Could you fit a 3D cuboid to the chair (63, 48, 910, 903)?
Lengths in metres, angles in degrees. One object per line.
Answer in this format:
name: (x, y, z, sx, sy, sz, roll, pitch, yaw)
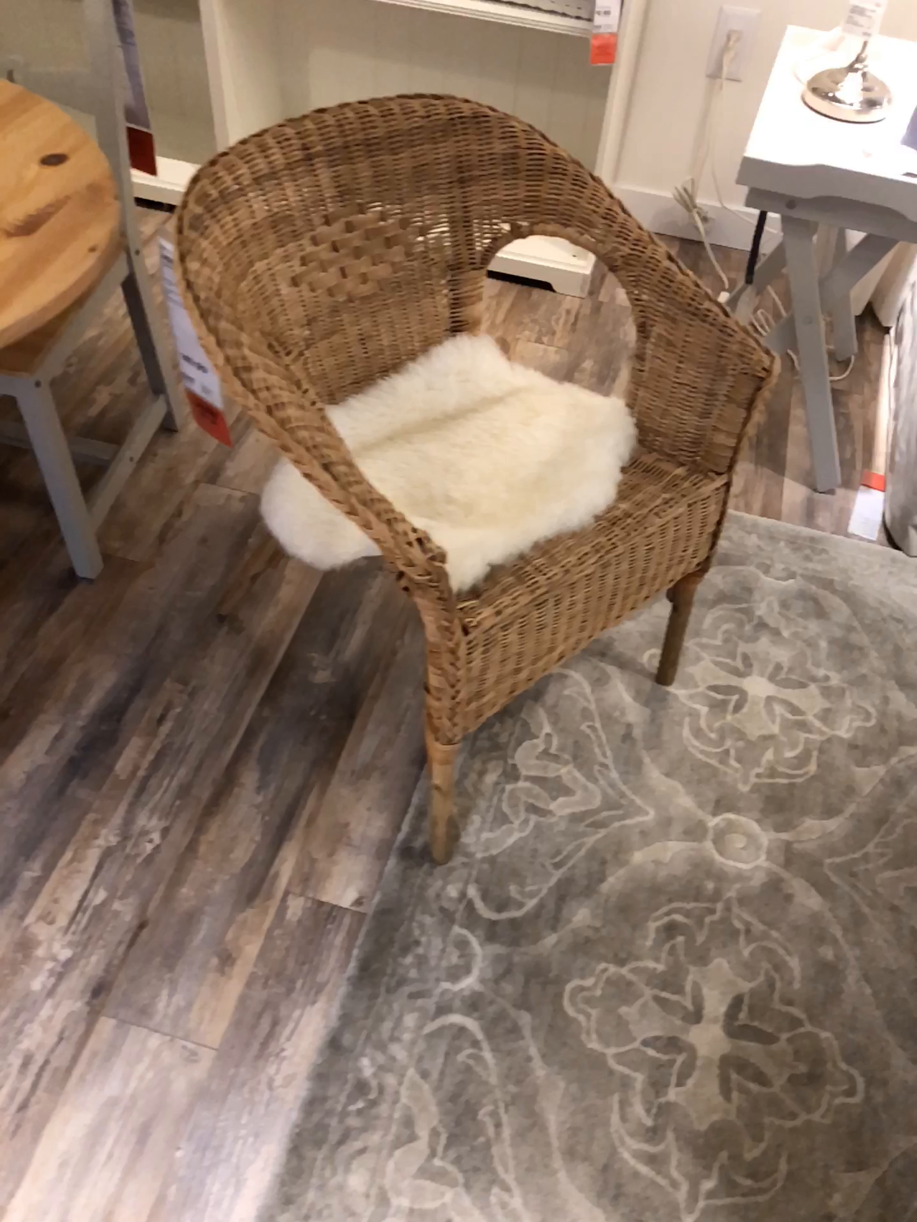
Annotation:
chair: (0.008, -0.193, 1.341, 0.651, 0.717, 0.631, -31, 58, -27)
